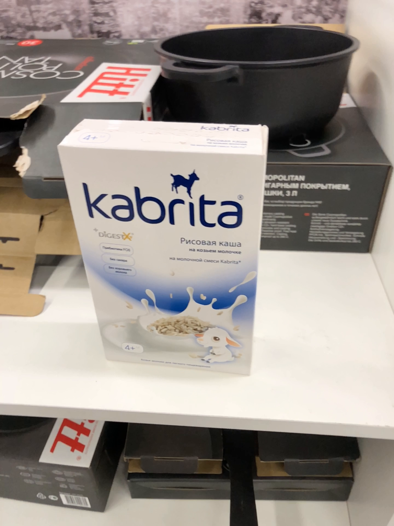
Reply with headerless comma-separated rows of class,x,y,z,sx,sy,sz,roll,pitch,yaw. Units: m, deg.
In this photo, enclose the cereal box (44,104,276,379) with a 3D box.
cereal box,-0.018,-0.008,0.346,0.140,0.209,0.060,5,38,8
